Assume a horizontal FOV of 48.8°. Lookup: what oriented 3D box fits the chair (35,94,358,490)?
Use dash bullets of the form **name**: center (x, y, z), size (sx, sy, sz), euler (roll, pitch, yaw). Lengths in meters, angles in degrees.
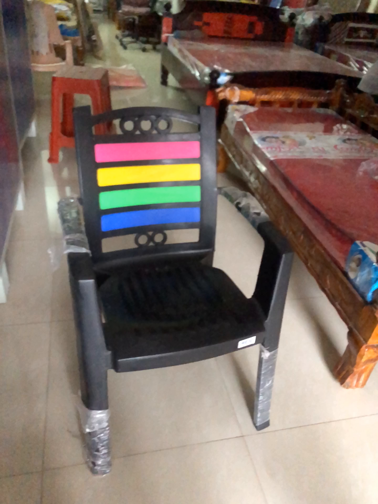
- **chair**: center (-0.079, 0.099, 1.295), size (0.641, 0.975, 0.612), euler (-6, 36, -17)
